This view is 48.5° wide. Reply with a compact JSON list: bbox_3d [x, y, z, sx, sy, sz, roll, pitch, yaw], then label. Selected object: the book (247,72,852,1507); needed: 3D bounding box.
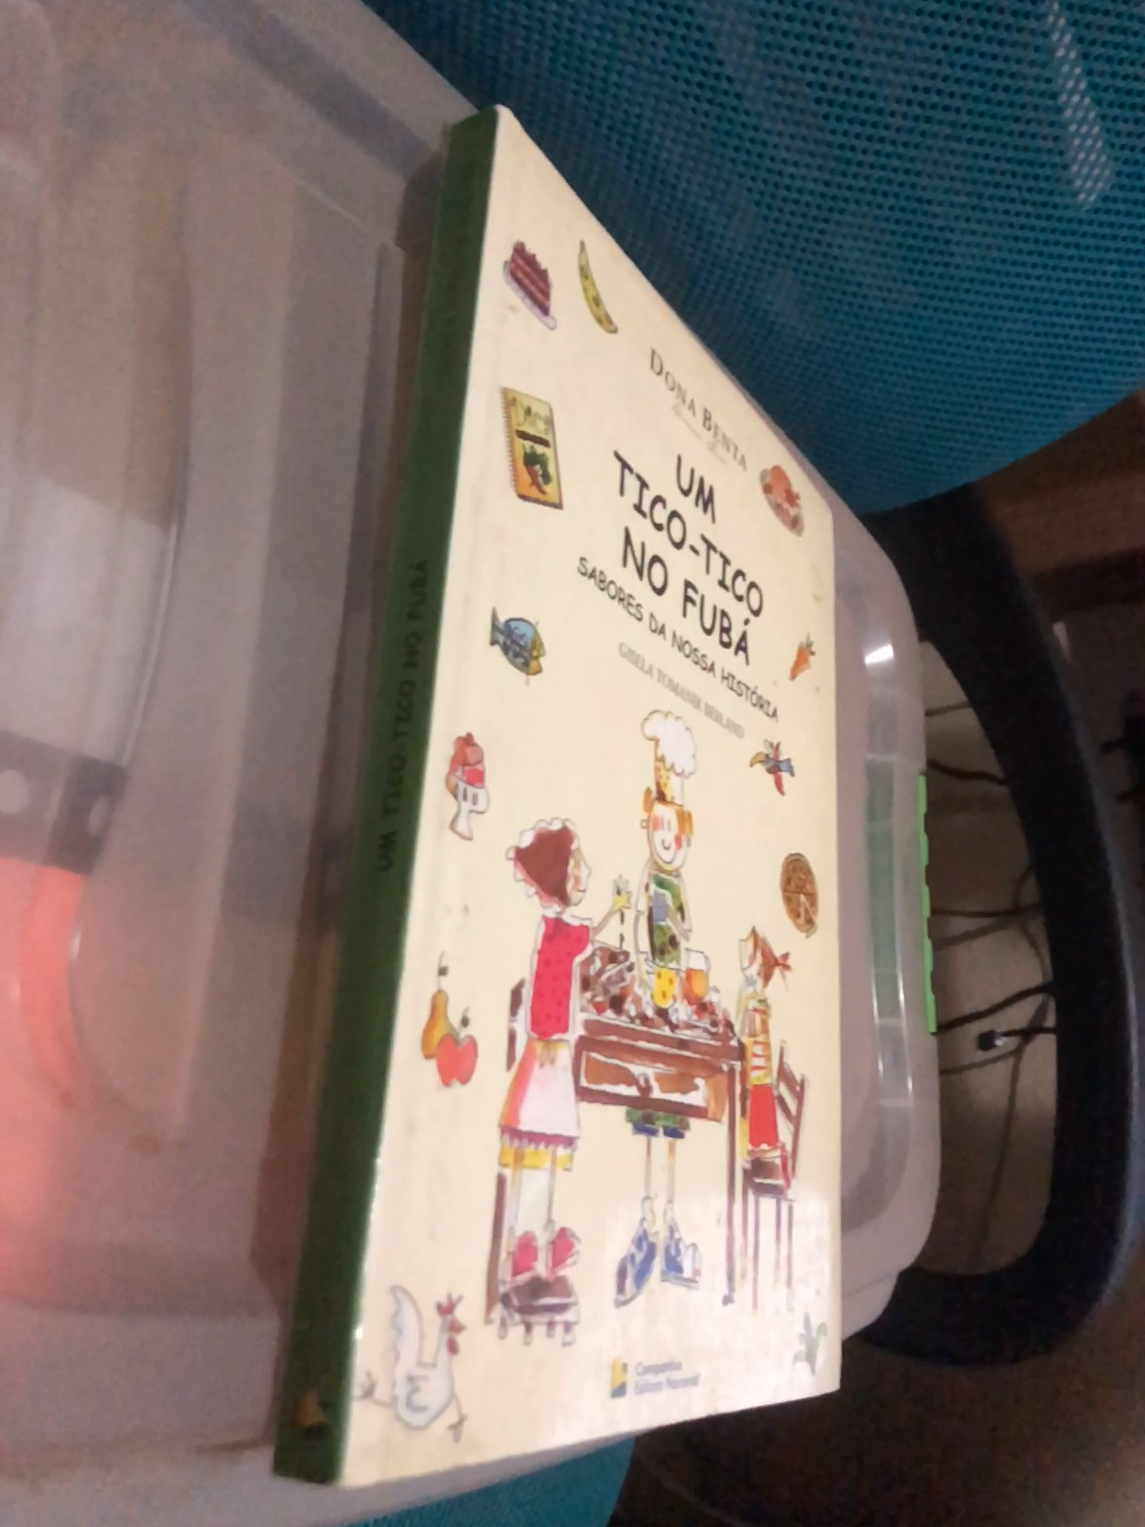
[{"bbox_3d":[0.019,0.010,0.270,0.172,0.020,0.232,30,59,-53],"label":"book"}]
